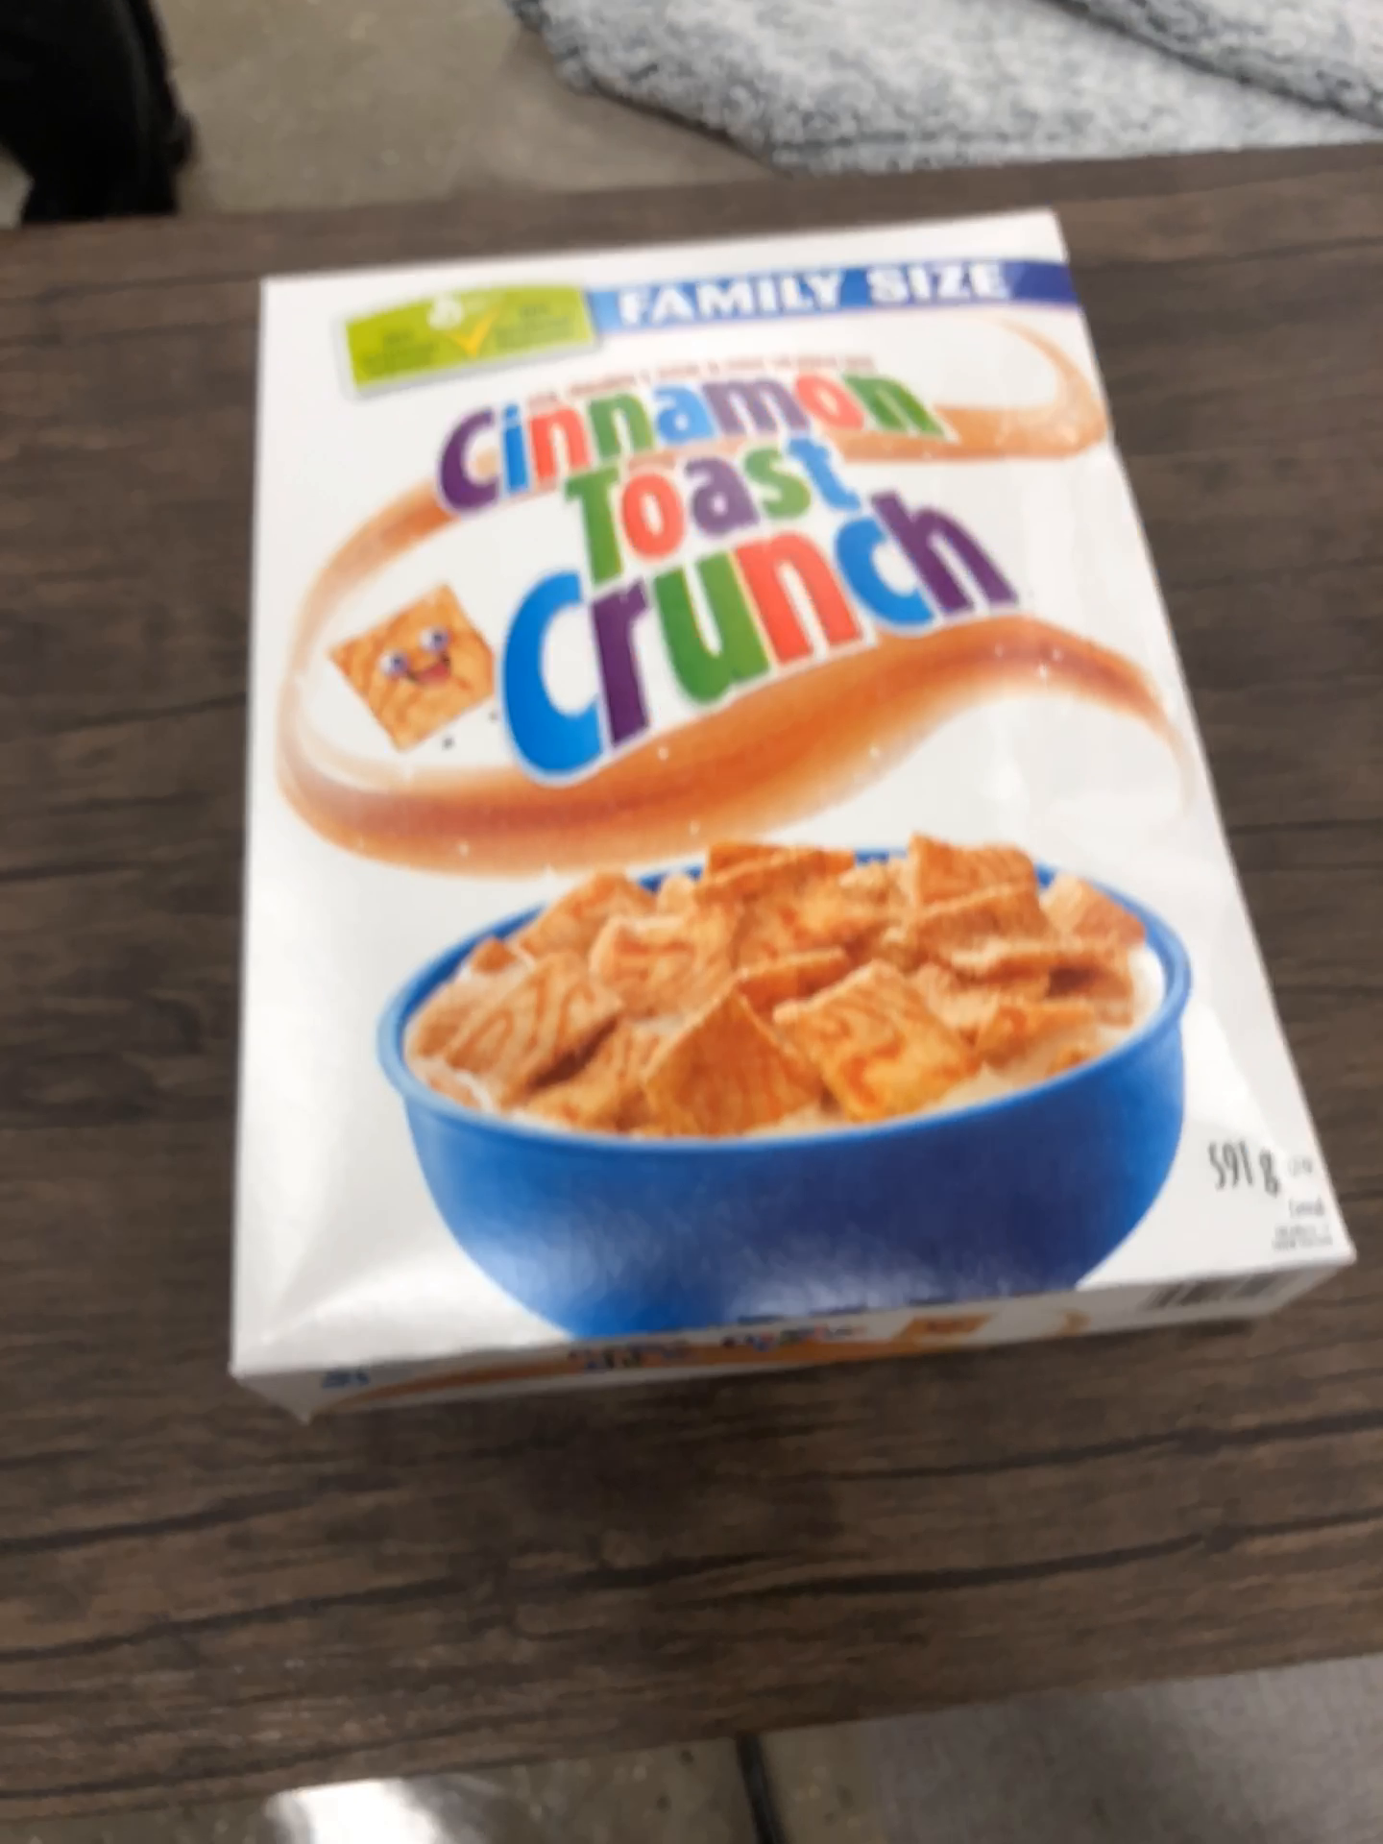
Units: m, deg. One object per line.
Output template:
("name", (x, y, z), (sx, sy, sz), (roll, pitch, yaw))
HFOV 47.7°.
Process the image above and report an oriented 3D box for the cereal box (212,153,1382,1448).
("cereal box", (0.008, -0.058, 0.440), (0.250, 0.070, 0.360), (-5, 63, -3))
